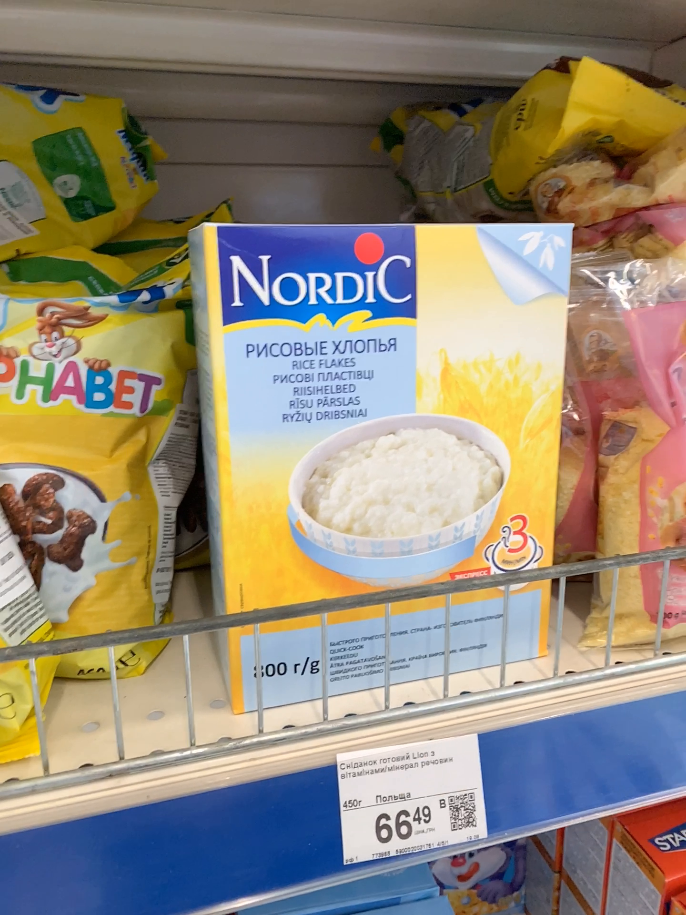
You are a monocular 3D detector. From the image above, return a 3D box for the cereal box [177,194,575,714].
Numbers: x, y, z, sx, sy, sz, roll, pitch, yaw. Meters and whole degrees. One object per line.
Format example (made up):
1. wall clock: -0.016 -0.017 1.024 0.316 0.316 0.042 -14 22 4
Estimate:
1. cereal box: 0.012 -0.009 0.323 0.150 0.199 0.080 -5 14 -15
